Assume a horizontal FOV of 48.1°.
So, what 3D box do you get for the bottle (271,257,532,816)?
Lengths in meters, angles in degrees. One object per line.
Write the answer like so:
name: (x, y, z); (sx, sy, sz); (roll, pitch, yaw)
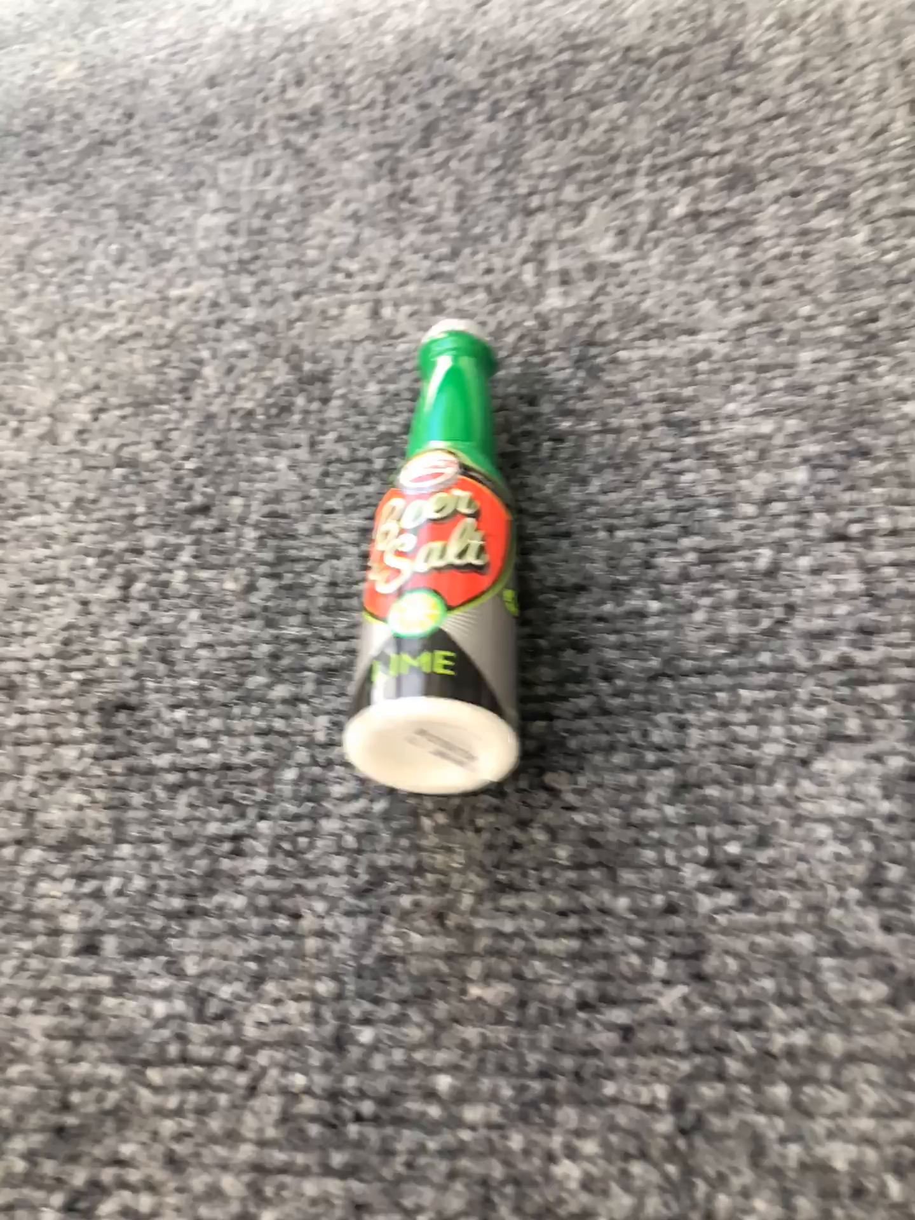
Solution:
bottle: (-0.006, -0.017, 0.183); (0.033, 0.030, 0.101); (-6, 53, 10)
